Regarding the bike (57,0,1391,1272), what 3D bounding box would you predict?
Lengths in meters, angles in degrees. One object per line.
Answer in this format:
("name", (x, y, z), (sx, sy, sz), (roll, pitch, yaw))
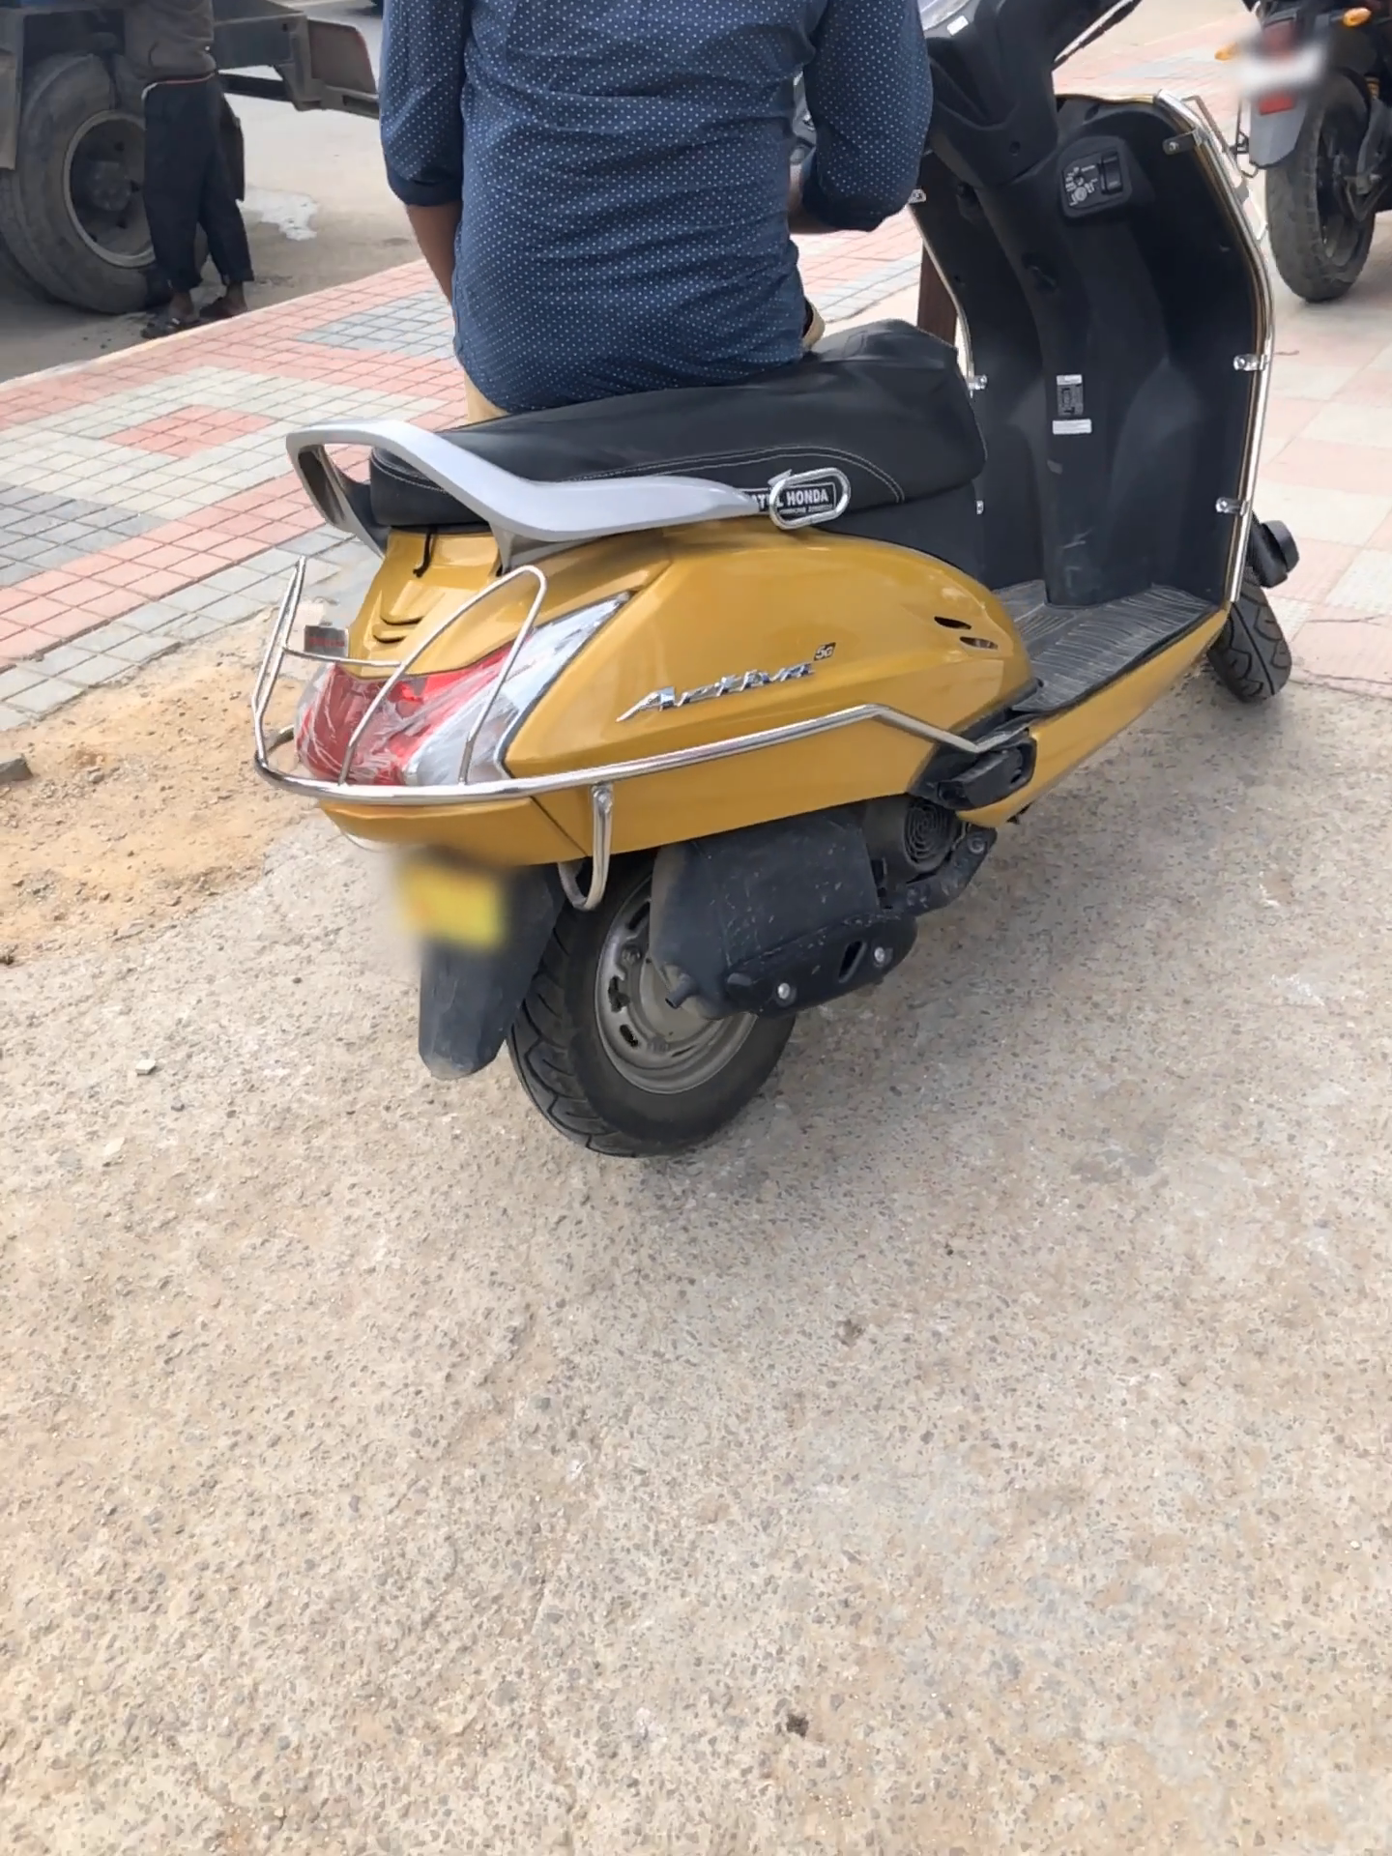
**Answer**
("bike", (0.185, -0.646, 1.836), (0.584, 1.153, 1.536), (23, 45, 30))
